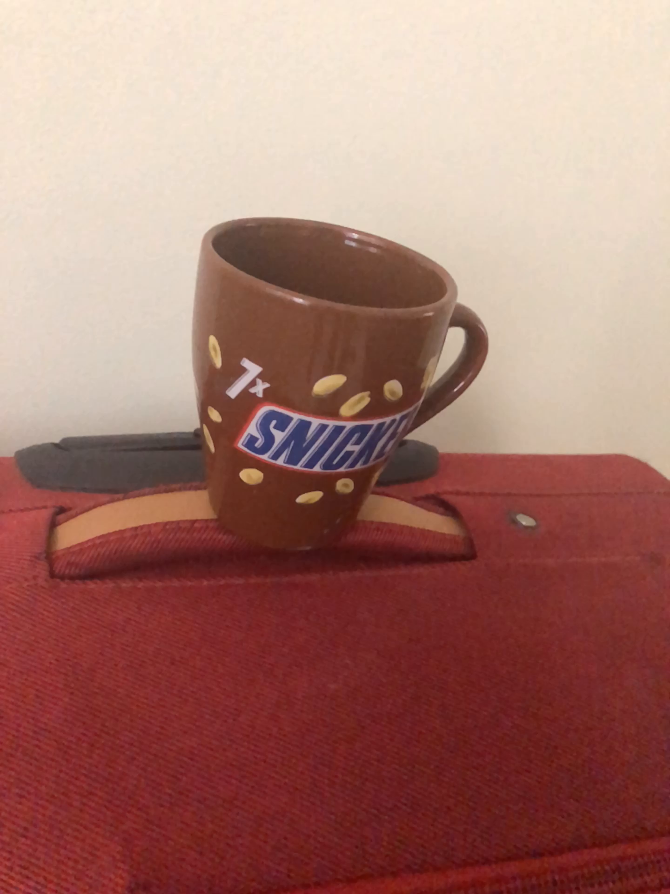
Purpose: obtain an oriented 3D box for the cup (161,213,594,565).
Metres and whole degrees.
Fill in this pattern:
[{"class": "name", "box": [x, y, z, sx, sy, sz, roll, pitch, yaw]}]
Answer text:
[{"class": "cup", "box": [0.005, -0.025, 0.258, 0.115, 0.080, 0.088, -4, 34, -20]}]
